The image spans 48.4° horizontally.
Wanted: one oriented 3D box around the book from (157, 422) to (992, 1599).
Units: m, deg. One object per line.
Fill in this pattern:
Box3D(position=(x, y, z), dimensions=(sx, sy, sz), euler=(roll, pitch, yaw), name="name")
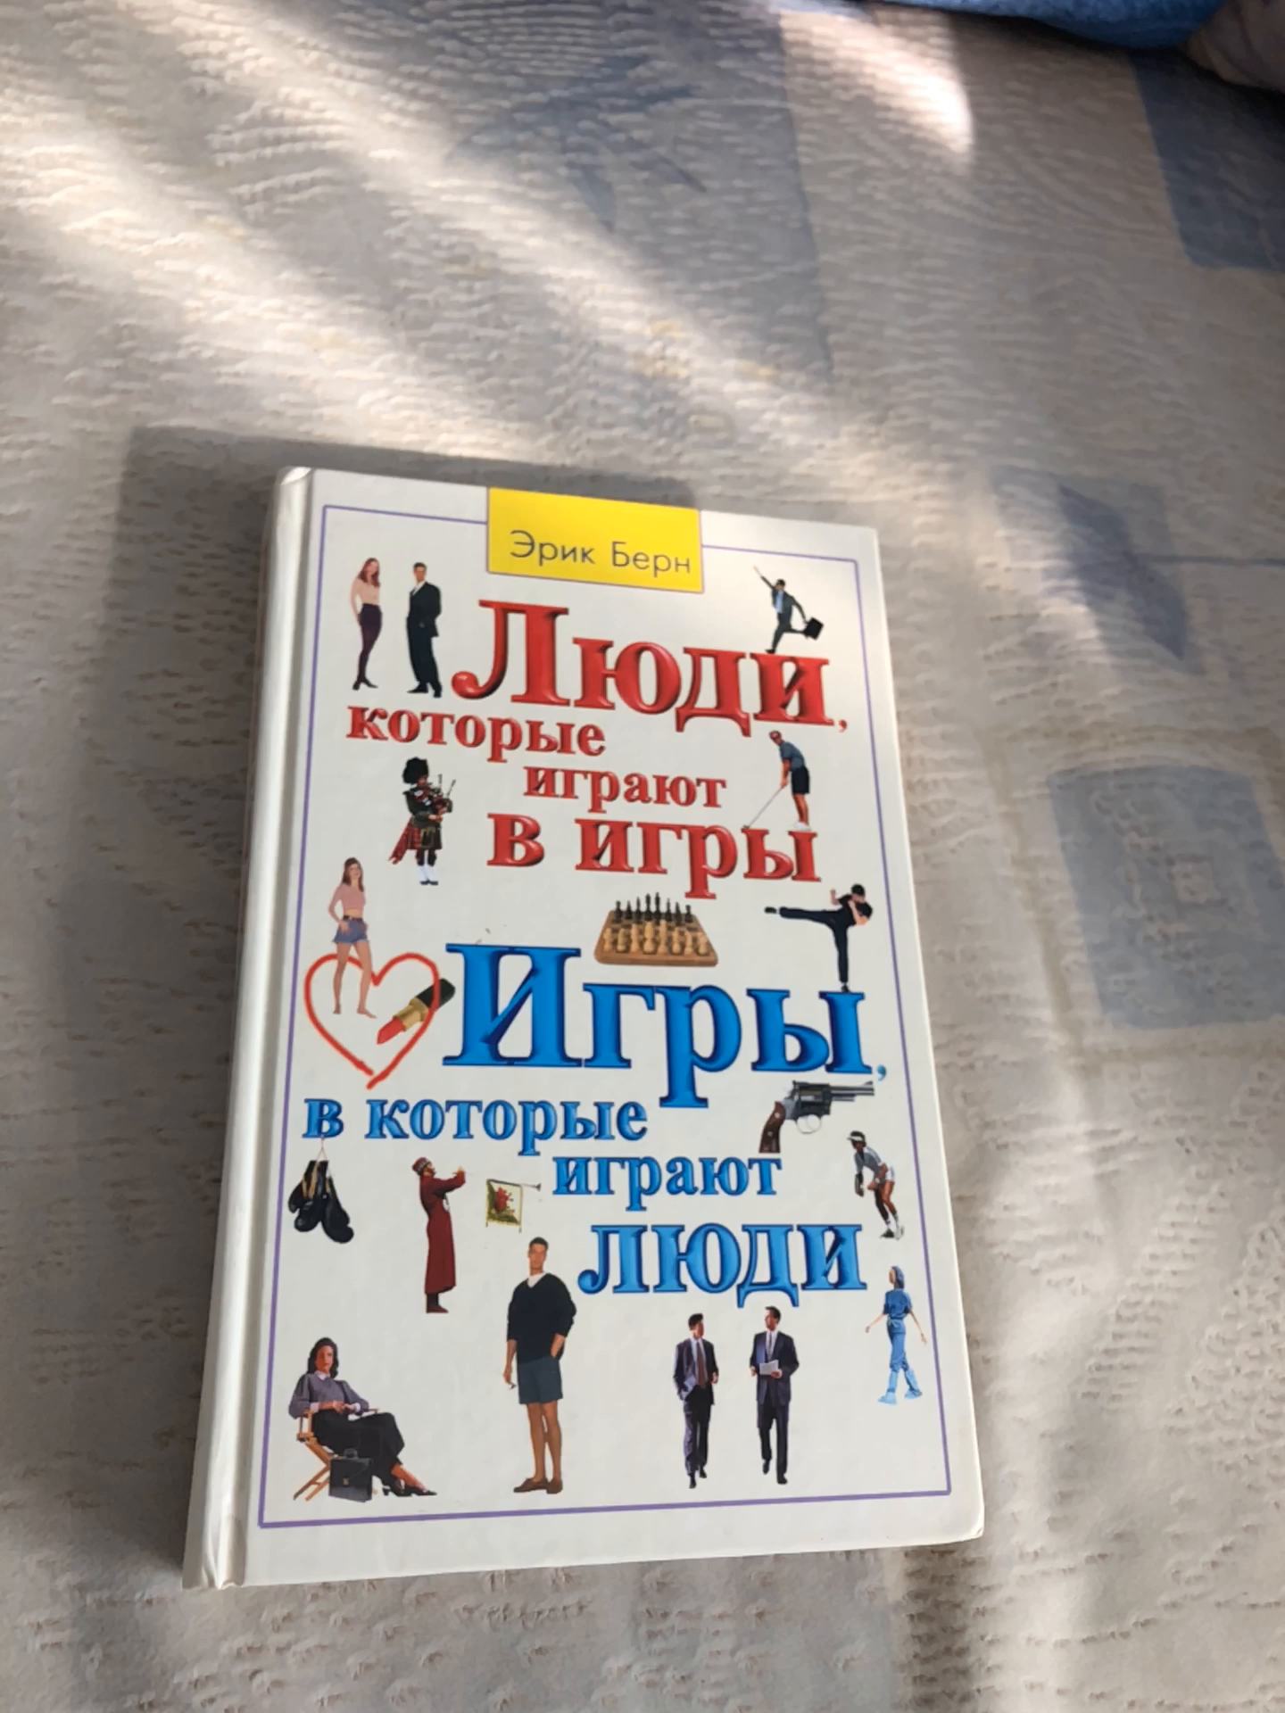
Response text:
Box3D(position=(-0.013, 0.020, 0.278), dimensions=(0.135, 0.030, 0.211), euler=(4, 68, -15), name="book")
